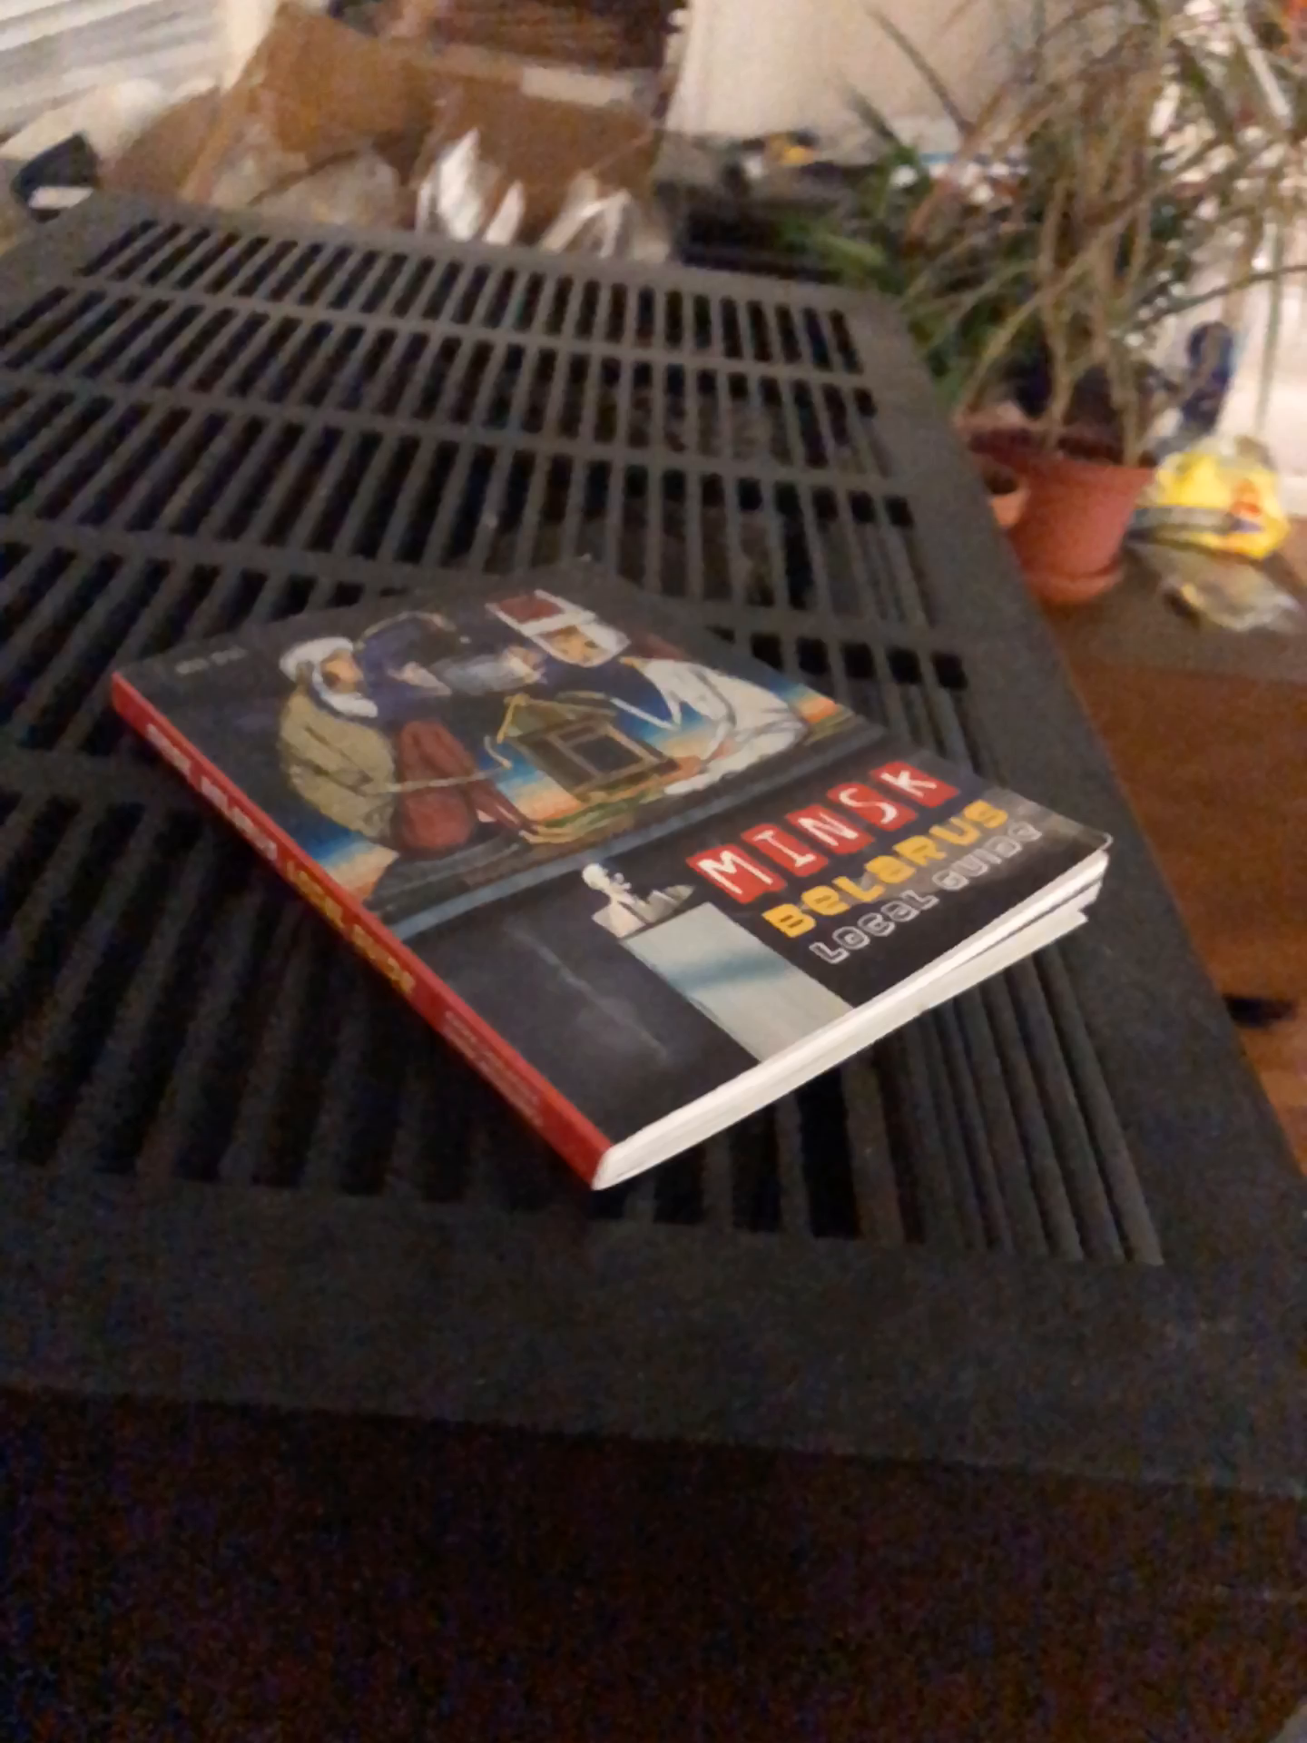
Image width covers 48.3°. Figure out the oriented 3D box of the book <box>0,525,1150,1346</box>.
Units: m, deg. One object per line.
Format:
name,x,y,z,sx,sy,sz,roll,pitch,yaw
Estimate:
book,-0.026,-0.014,0.312,0.161,0.020,0.201,-22,45,-35
